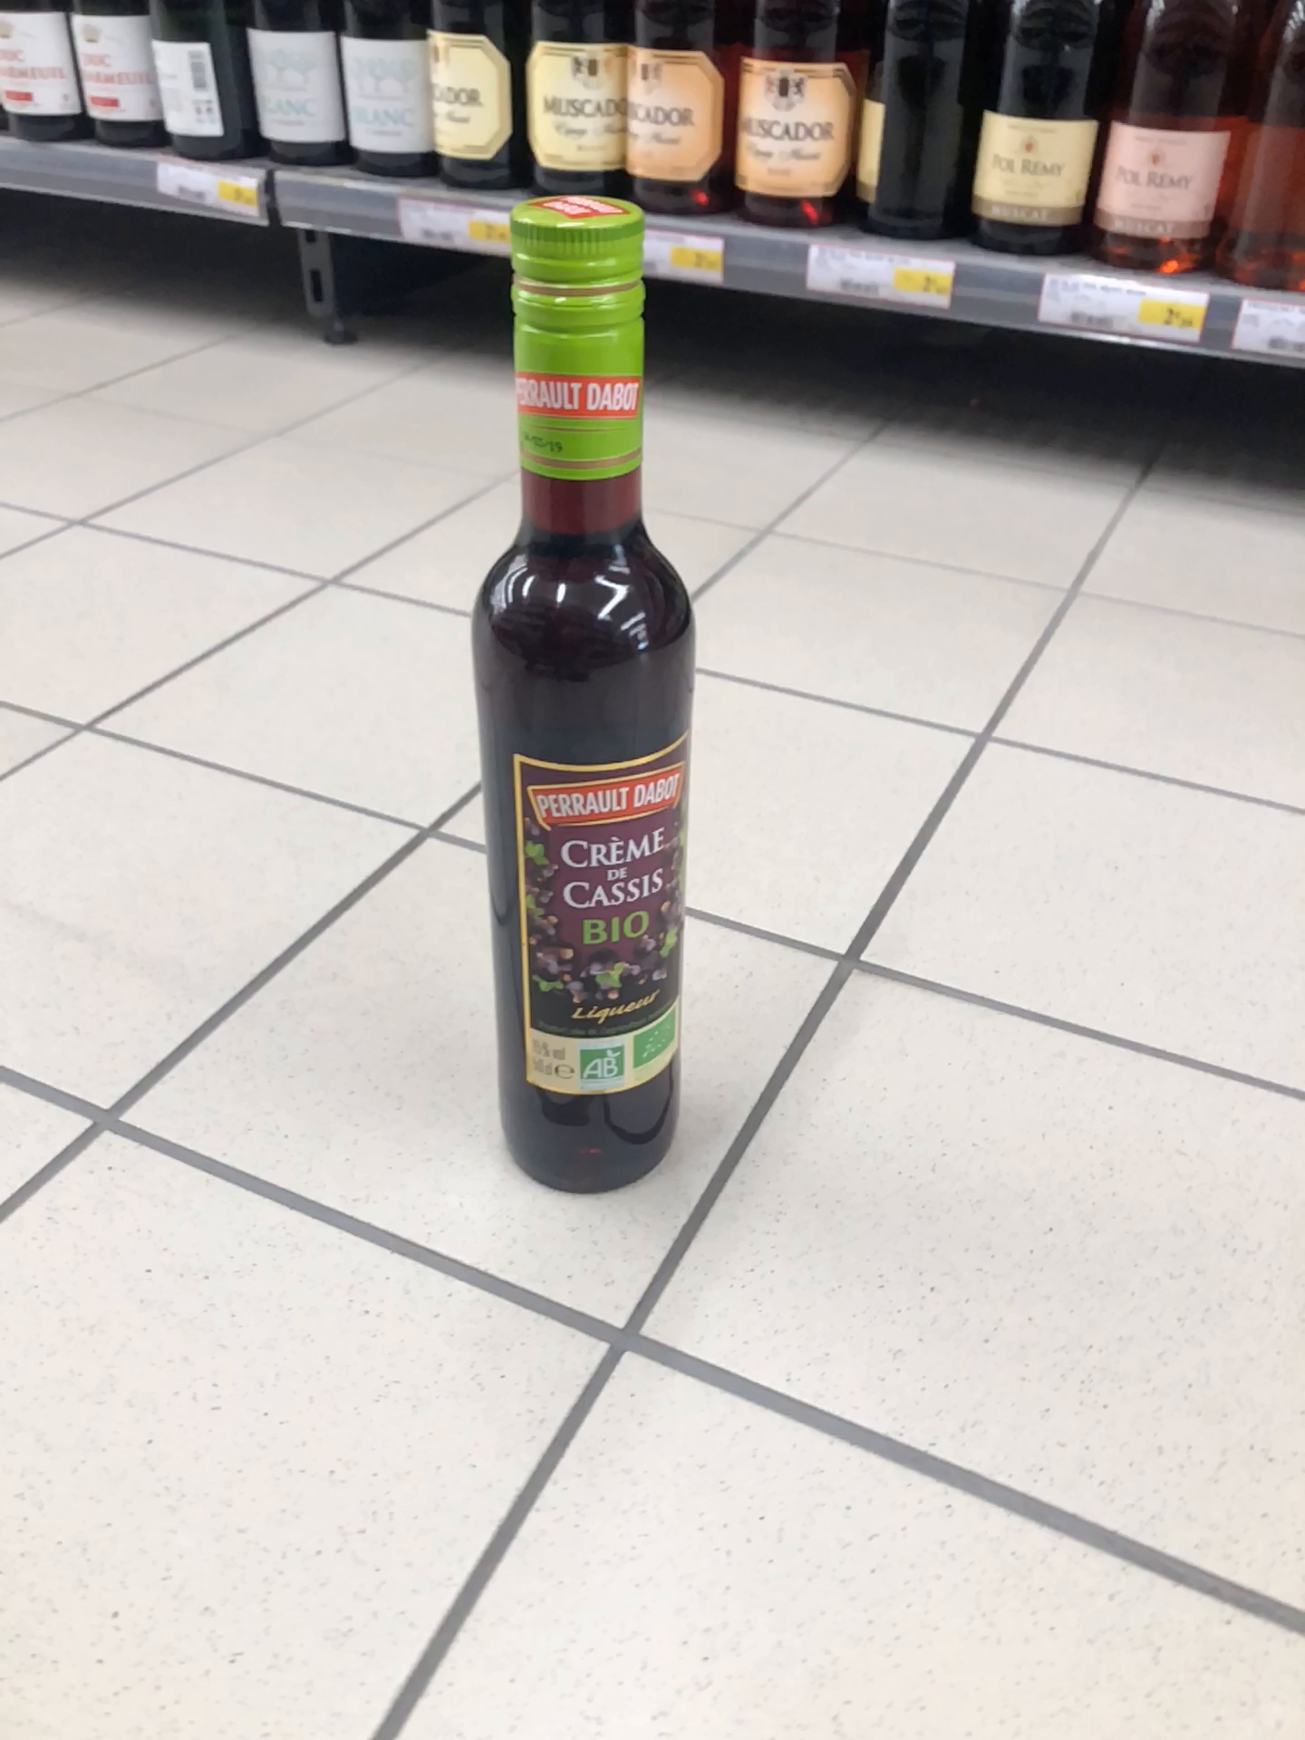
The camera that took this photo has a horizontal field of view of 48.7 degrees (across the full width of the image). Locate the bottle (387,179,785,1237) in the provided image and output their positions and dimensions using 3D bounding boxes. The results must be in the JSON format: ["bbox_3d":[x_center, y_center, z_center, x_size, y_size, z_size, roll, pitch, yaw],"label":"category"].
[{"bbox_3d":[-0.020,-0.031,0.410,0.070,0.288,0.070,1,33,-1],"label":"bottle"}]
